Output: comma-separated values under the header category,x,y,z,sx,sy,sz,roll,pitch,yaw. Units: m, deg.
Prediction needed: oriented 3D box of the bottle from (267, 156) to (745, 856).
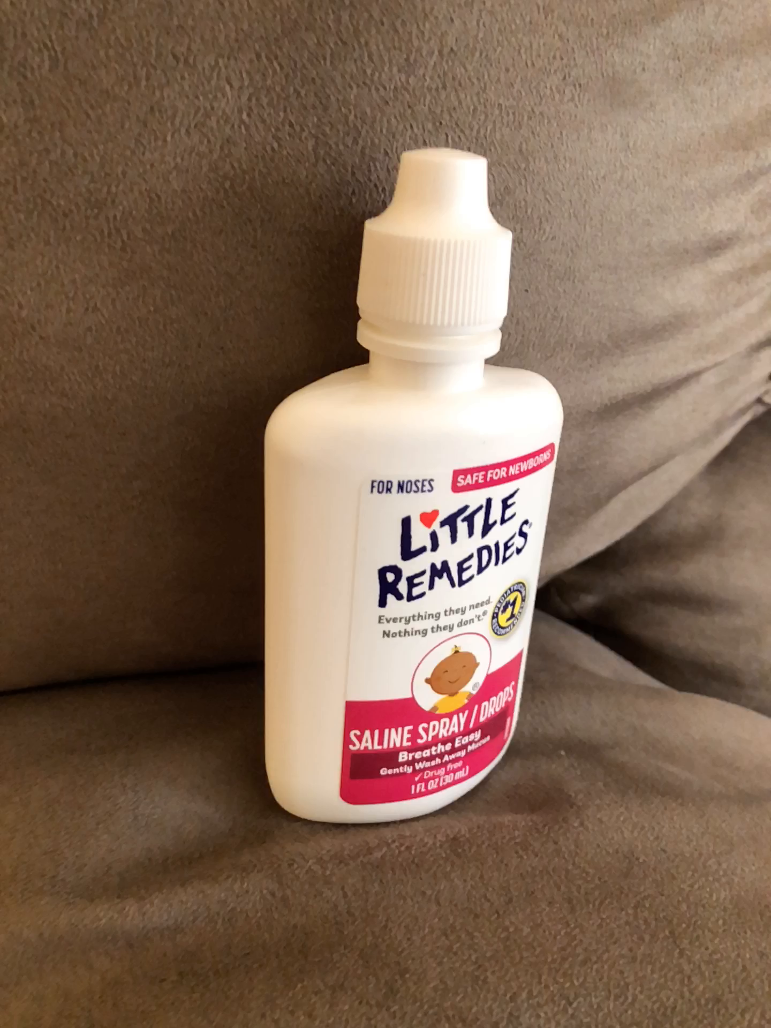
category,x,y,z,sx,sy,sz,roll,pitch,yaw
bottle,0.013,0.001,0.150,0.060,0.110,0.030,-7,30,-21
